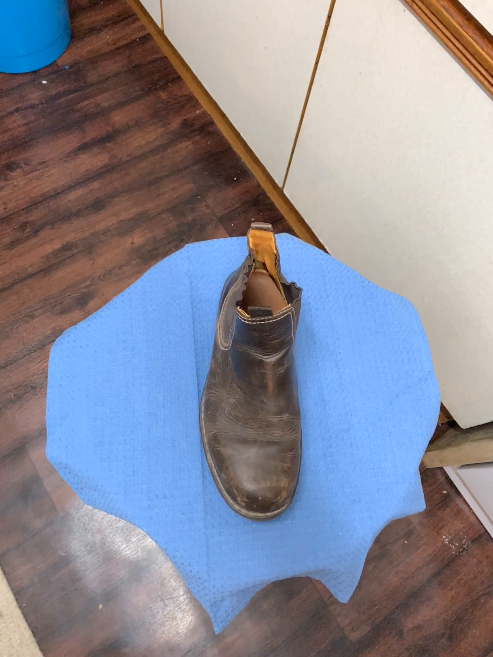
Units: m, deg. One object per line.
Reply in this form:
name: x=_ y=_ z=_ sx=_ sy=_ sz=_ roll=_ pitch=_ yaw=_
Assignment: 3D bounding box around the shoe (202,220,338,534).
shoe: x=0.011 y=0.054 z=0.516 sx=0.105 sy=0.157 sz=0.279 roll=1 pitch=71 yaw=-5
